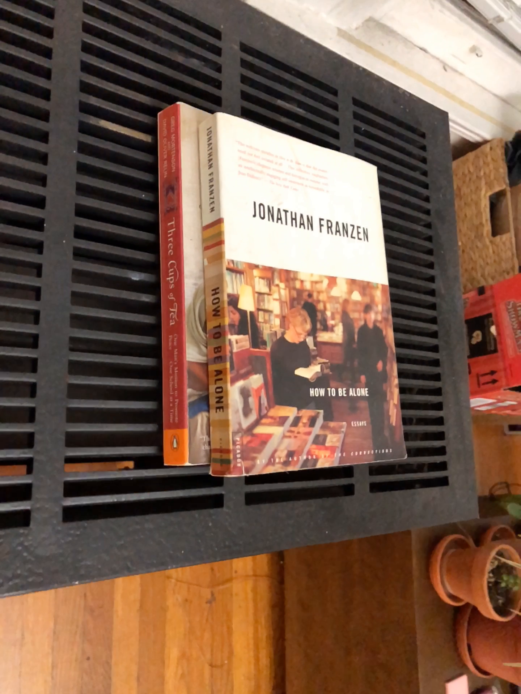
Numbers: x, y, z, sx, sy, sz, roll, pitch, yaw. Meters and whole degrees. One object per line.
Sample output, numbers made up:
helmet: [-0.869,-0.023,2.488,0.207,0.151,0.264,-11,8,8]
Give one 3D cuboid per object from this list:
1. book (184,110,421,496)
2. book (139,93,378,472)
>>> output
book: [0.031,-0.024,0.363,0.151,0.030,0.210,2,80,-38]
book: [0.003,-0.035,0.367,0.151,0.030,0.210,2,80,-38]
